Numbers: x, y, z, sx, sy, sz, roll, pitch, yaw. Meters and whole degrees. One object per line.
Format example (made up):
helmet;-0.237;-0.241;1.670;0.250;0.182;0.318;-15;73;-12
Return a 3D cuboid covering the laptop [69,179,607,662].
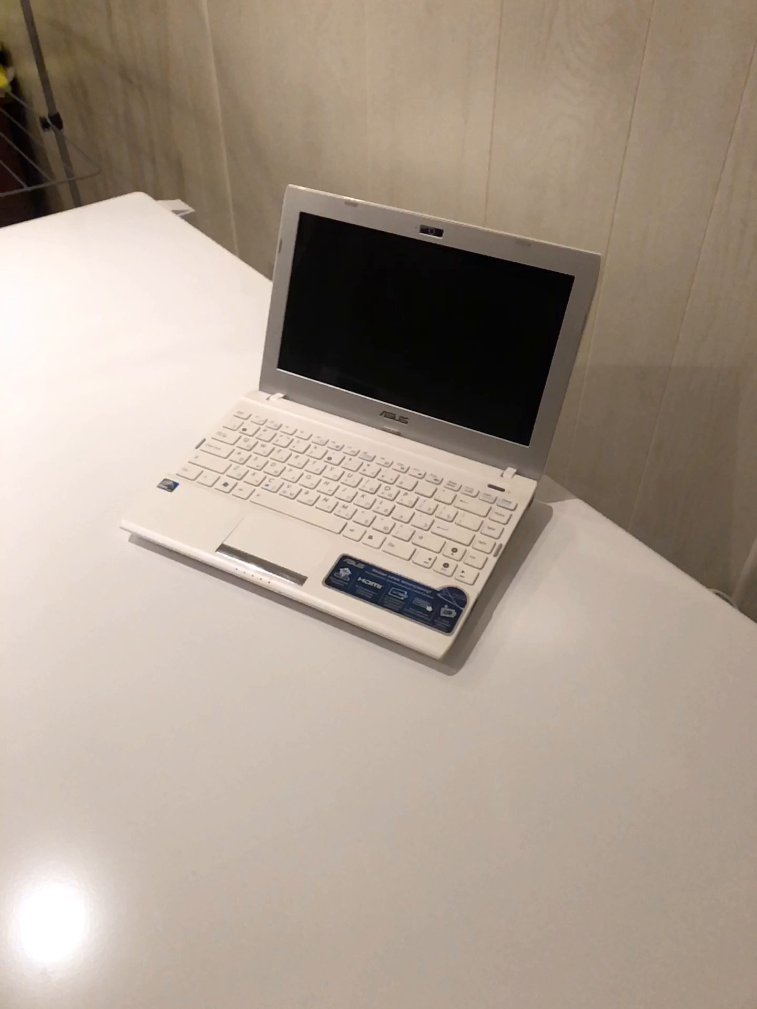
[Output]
laptop;-0.015;-0.092;0.663;0.288;0.168;0.293;20;48;20
